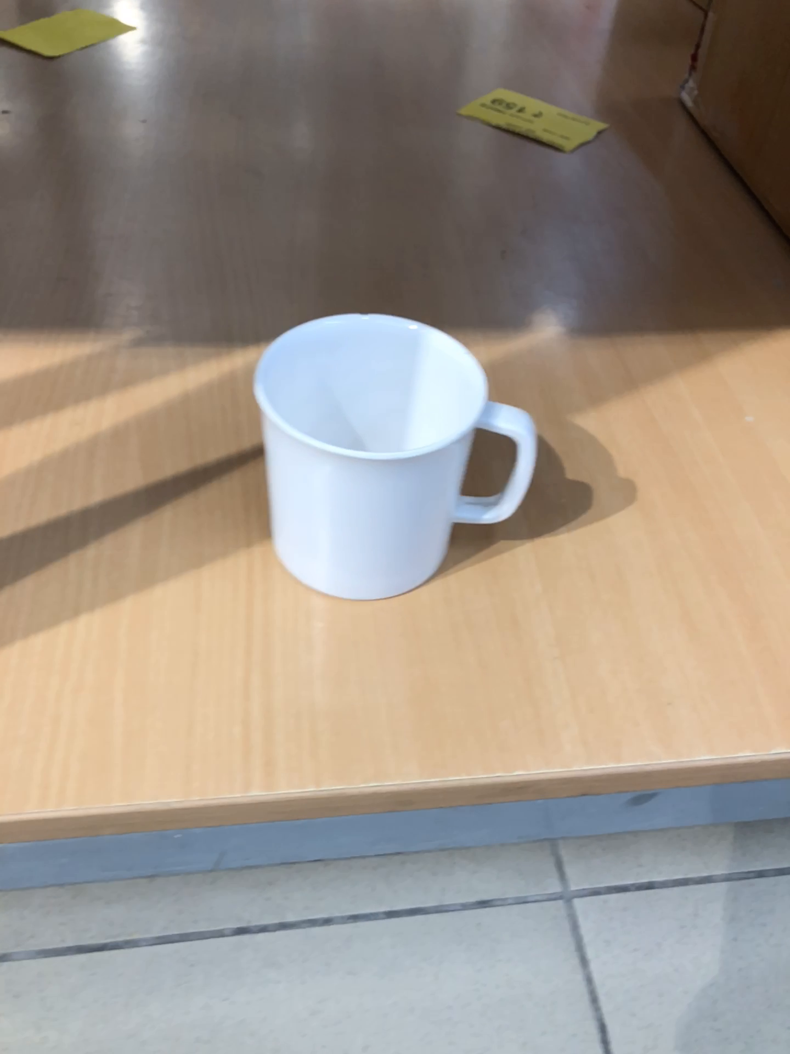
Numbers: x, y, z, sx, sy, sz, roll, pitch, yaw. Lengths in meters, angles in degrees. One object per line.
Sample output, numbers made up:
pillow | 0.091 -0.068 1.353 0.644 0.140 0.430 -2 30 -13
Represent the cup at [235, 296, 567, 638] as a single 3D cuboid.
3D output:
cup | 0.004 -0.023 0.349 0.110 0.089 0.081 9 46 2
